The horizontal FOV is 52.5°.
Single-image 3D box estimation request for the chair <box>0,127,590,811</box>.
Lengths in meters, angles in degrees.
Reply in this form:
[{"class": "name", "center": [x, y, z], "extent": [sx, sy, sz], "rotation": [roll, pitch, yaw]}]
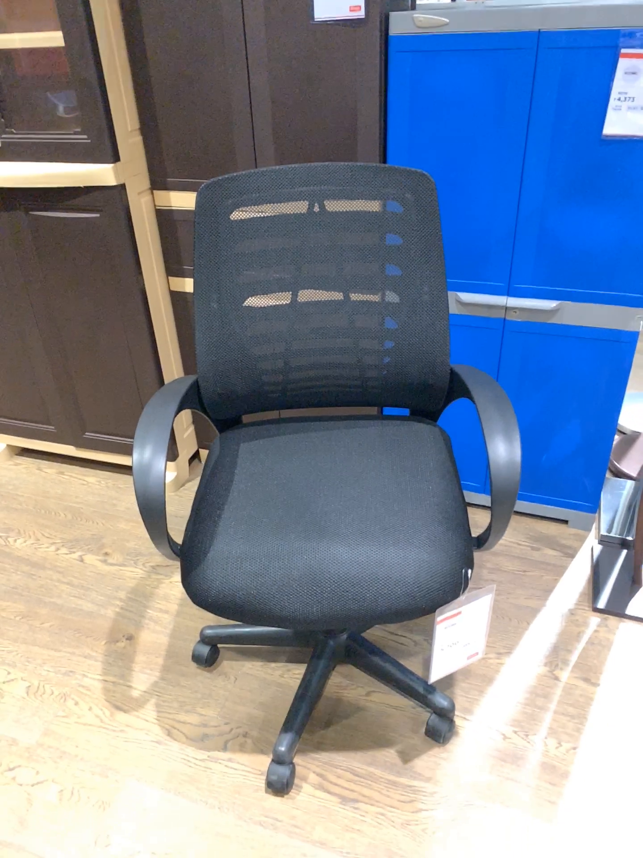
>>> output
[{"class": "chair", "center": [-0.026, 0.082, 1.126], "extent": [0.600, 0.996, 0.603], "rotation": [-1, 33, 3]}]
